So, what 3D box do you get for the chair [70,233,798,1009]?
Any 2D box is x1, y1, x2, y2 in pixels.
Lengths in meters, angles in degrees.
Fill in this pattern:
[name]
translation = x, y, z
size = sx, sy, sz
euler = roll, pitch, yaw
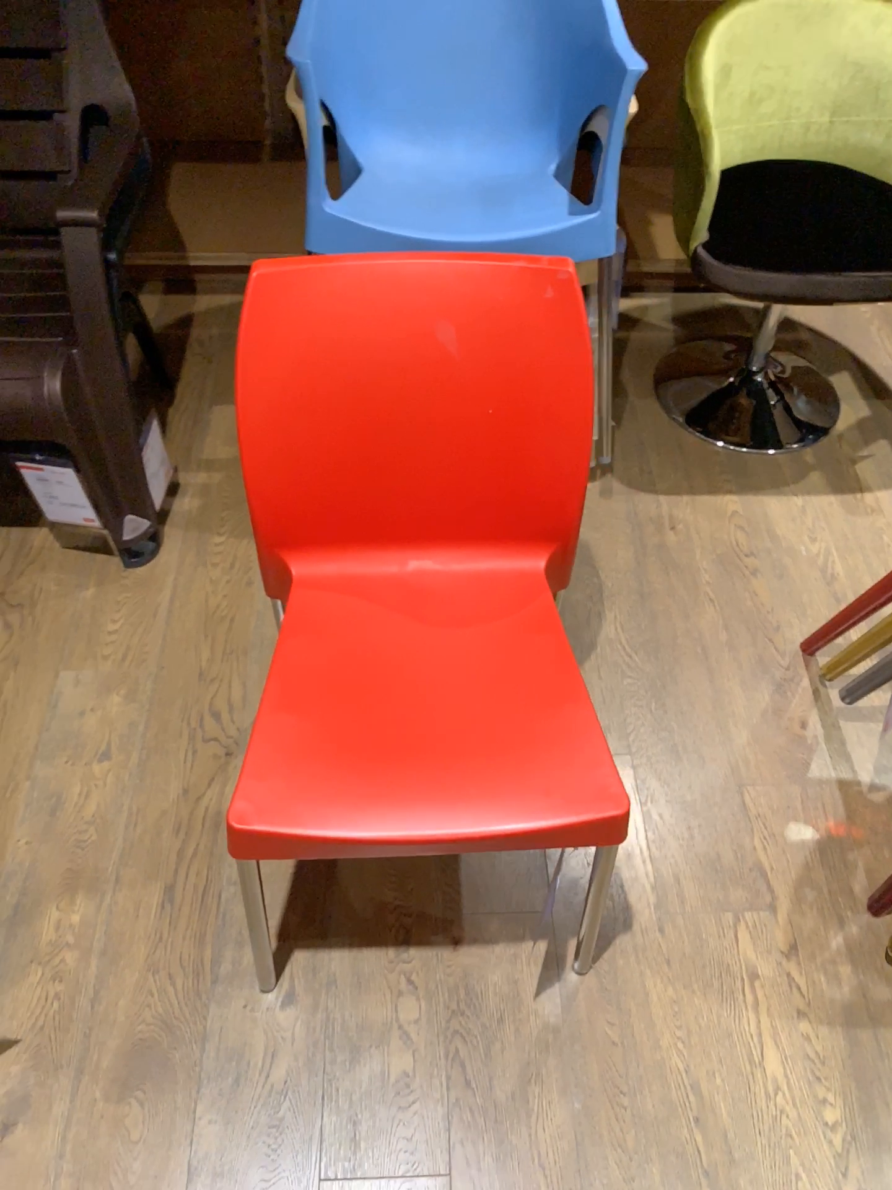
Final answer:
[chair]
translation = -0.033, 0.076, 1.142
size = 0.520, 0.788, 0.592
euler = -2, 51, -4
